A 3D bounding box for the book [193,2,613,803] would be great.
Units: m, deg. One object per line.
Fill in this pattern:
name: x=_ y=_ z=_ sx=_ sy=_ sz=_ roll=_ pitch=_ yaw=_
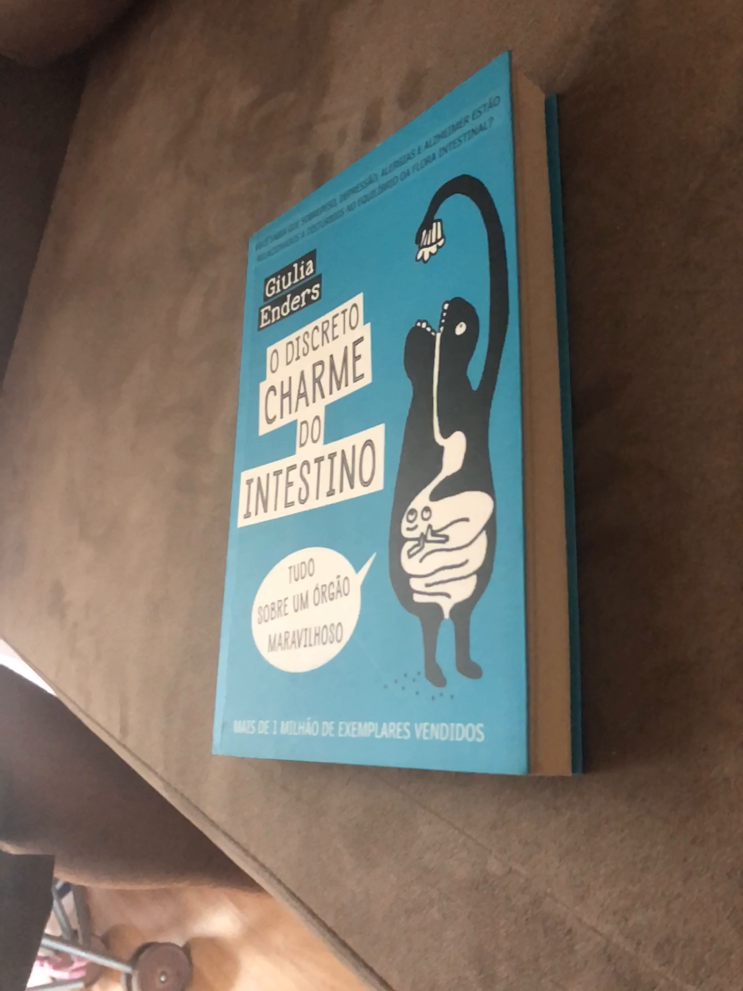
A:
book: x=0.003 y=-0.023 z=0.270 sx=0.141 sy=0.030 sz=0.220 roll=-15 pitch=66 yaw=45
